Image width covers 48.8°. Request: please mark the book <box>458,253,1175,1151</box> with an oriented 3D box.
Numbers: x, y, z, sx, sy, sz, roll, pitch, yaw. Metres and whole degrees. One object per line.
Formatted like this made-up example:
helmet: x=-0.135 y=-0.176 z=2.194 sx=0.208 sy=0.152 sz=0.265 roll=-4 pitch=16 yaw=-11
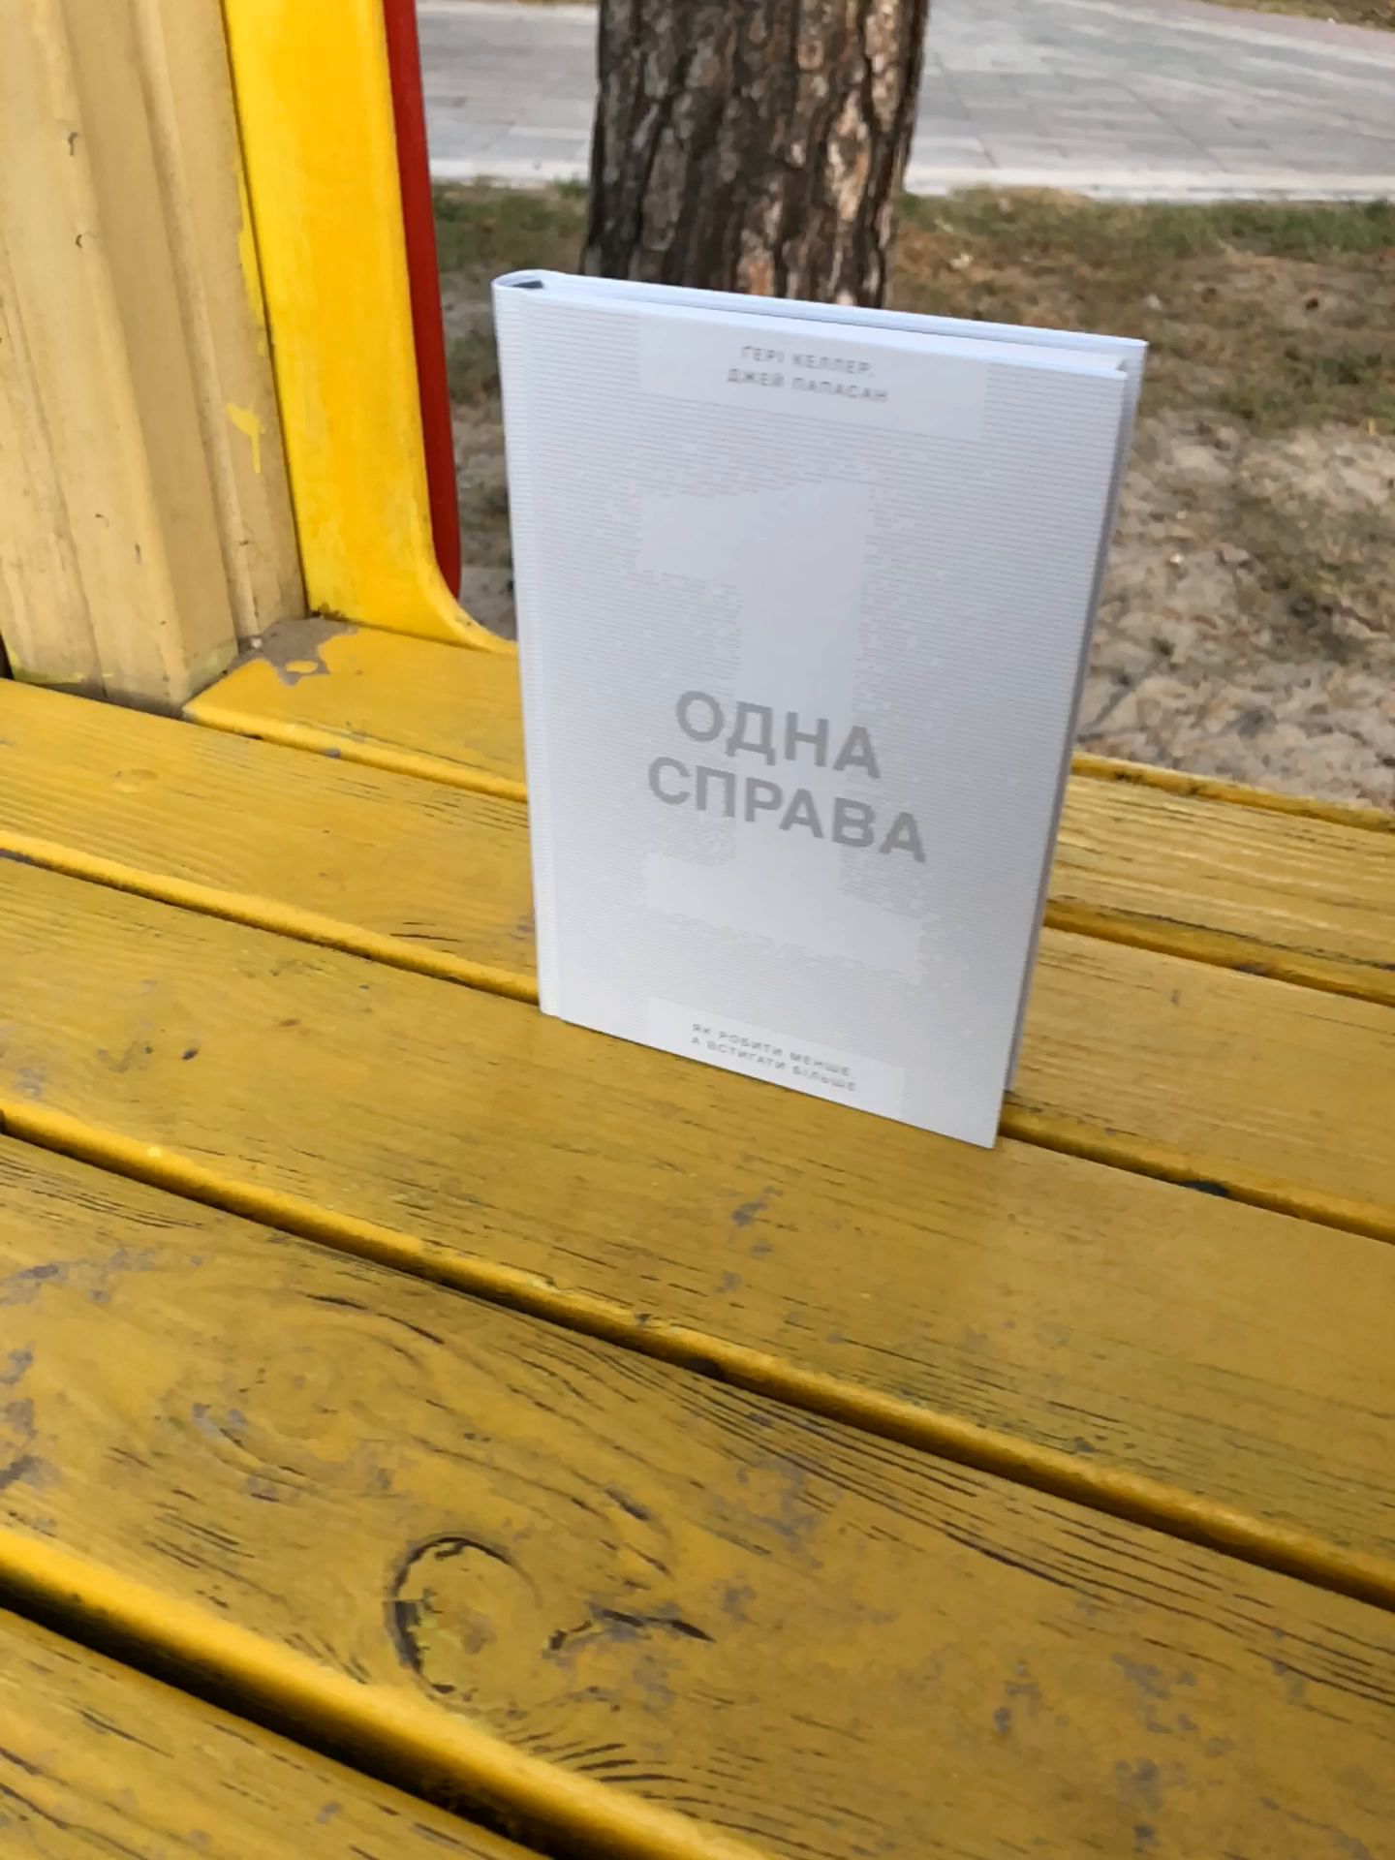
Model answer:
book: x=0.022 y=-0.051 z=0.394 sx=0.154 sy=0.208 sz=0.030 roll=15 pitch=39 yaw=19
